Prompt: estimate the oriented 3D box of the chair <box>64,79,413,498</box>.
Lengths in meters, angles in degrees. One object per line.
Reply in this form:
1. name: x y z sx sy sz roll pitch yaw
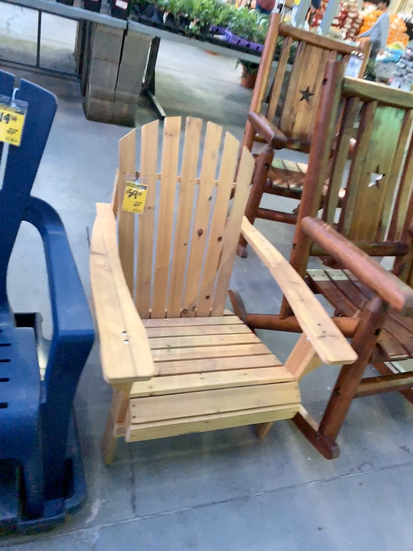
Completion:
1. chair: -0.034 0.019 1.418 0.728 0.886 0.894 1 40 -24
